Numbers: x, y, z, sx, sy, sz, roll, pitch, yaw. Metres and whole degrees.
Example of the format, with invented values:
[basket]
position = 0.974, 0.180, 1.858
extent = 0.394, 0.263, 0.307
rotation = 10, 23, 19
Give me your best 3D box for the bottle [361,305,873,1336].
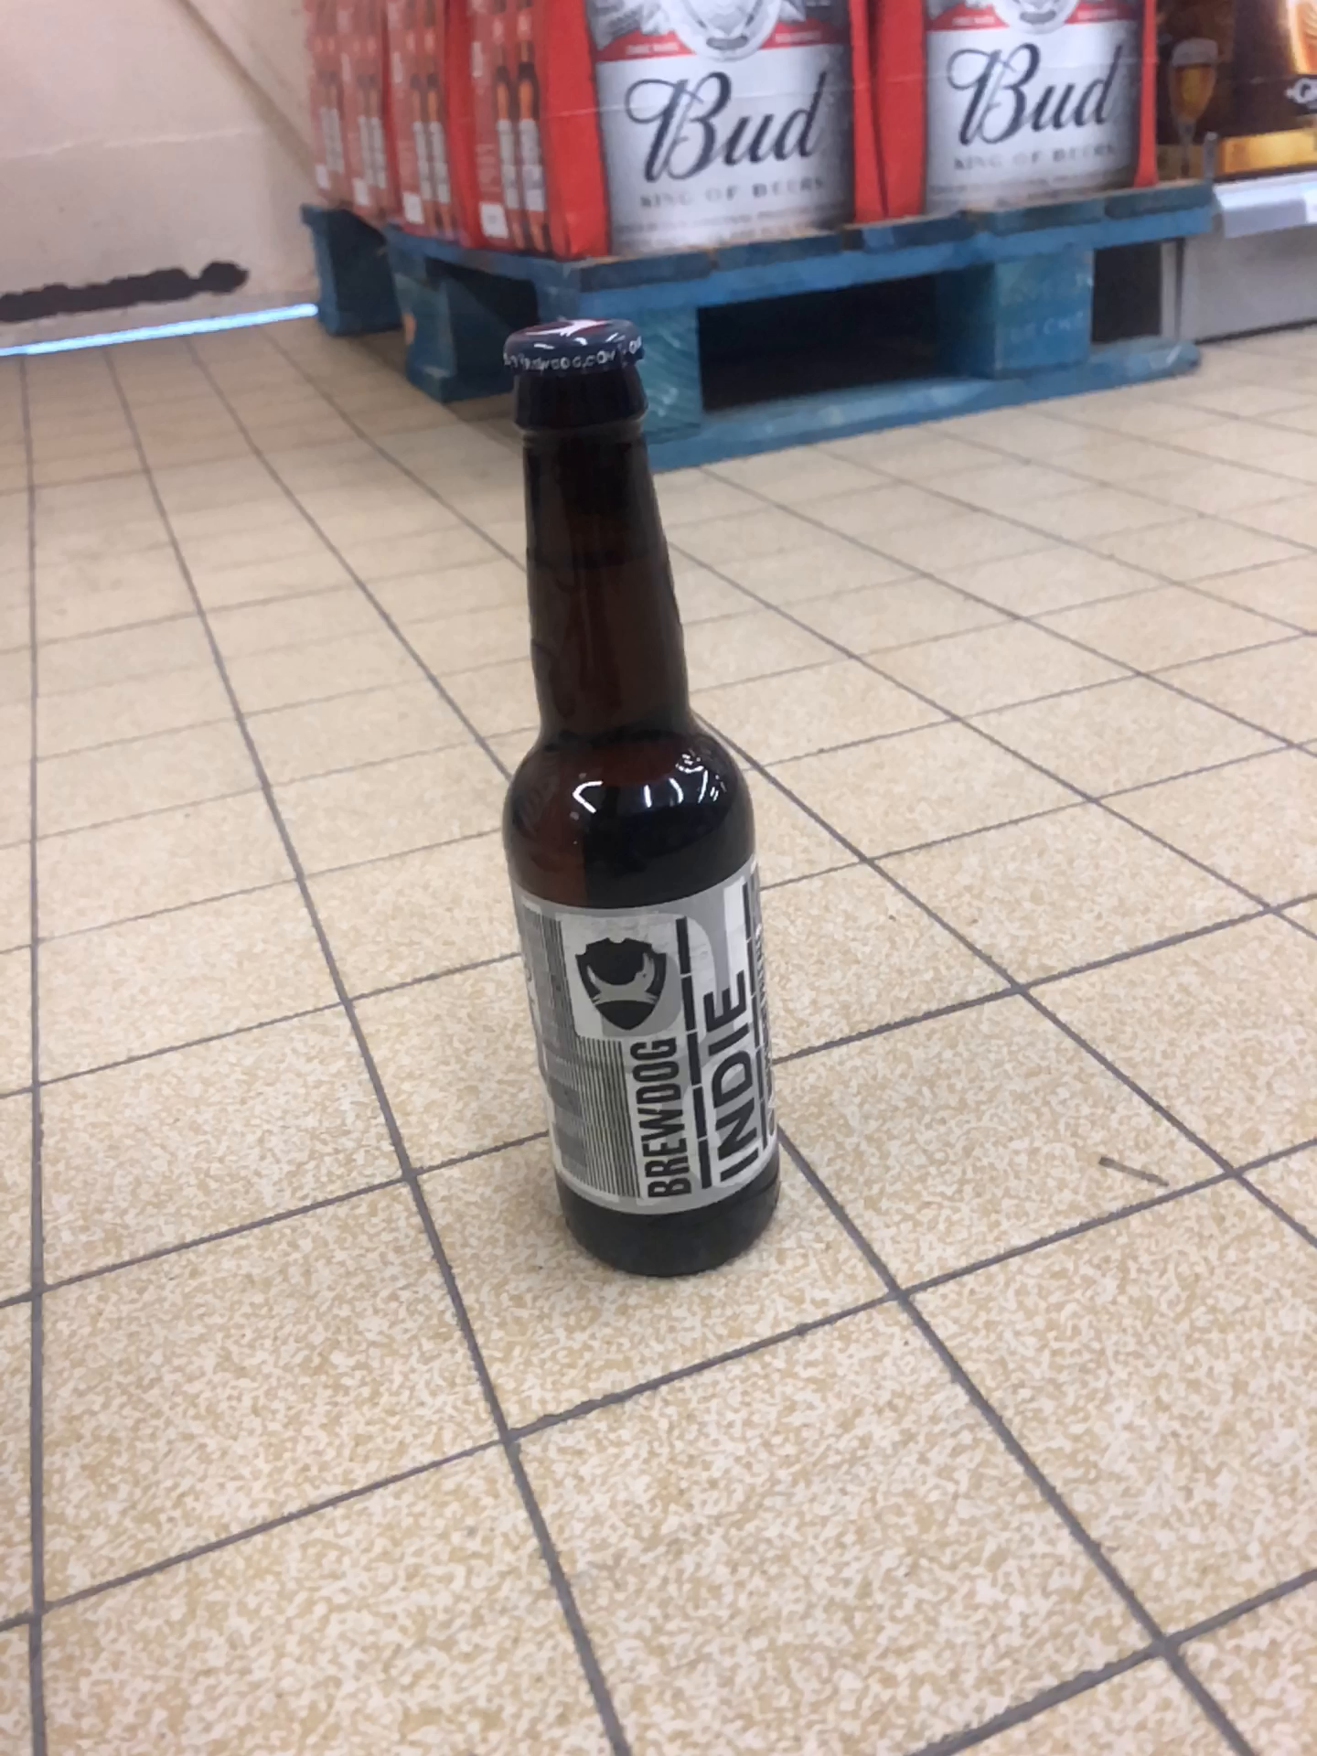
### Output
[bottle]
position = -0.002, -0.011, 0.344
extent = 0.070, 0.222, 0.070
rotation = -5, 27, 2
